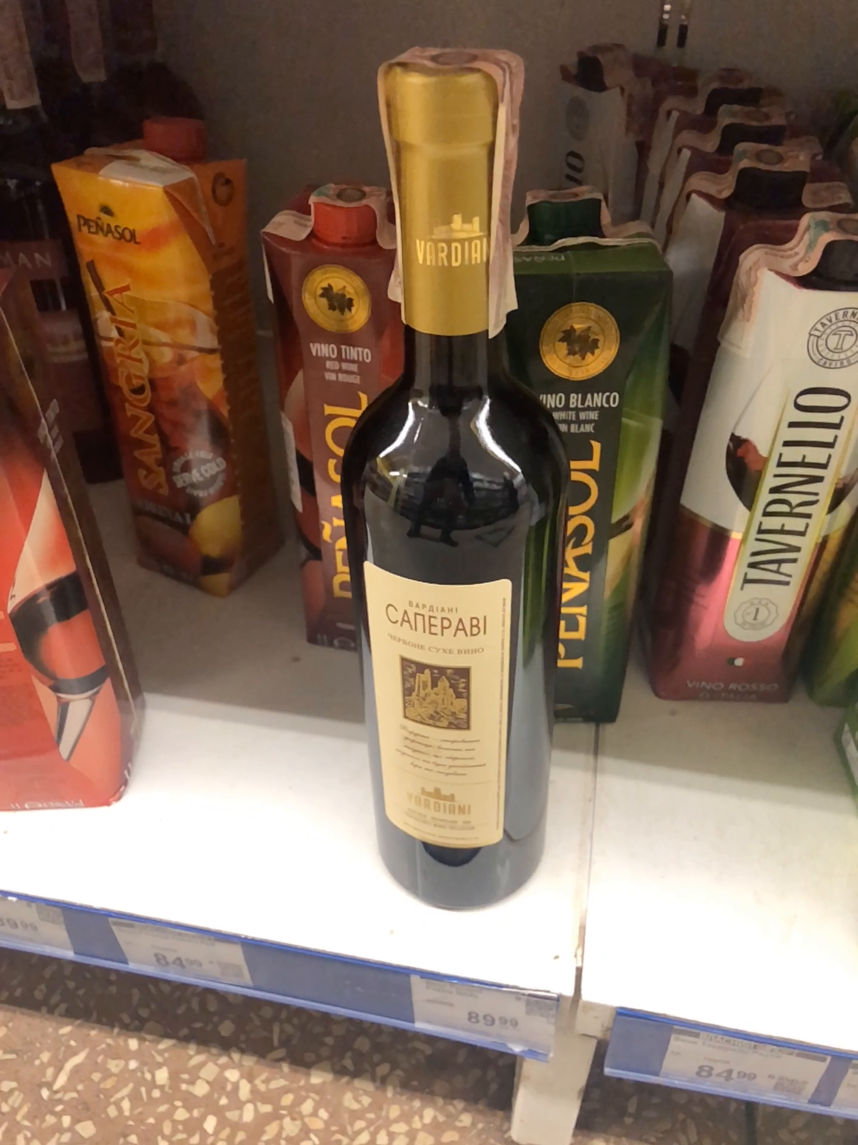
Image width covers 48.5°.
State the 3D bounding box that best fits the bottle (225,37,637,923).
[{"bbox_3d":[0.004,-0.004,0.305,0.080,0.281,0.070,9,40,10],"label":"bottle"}]
